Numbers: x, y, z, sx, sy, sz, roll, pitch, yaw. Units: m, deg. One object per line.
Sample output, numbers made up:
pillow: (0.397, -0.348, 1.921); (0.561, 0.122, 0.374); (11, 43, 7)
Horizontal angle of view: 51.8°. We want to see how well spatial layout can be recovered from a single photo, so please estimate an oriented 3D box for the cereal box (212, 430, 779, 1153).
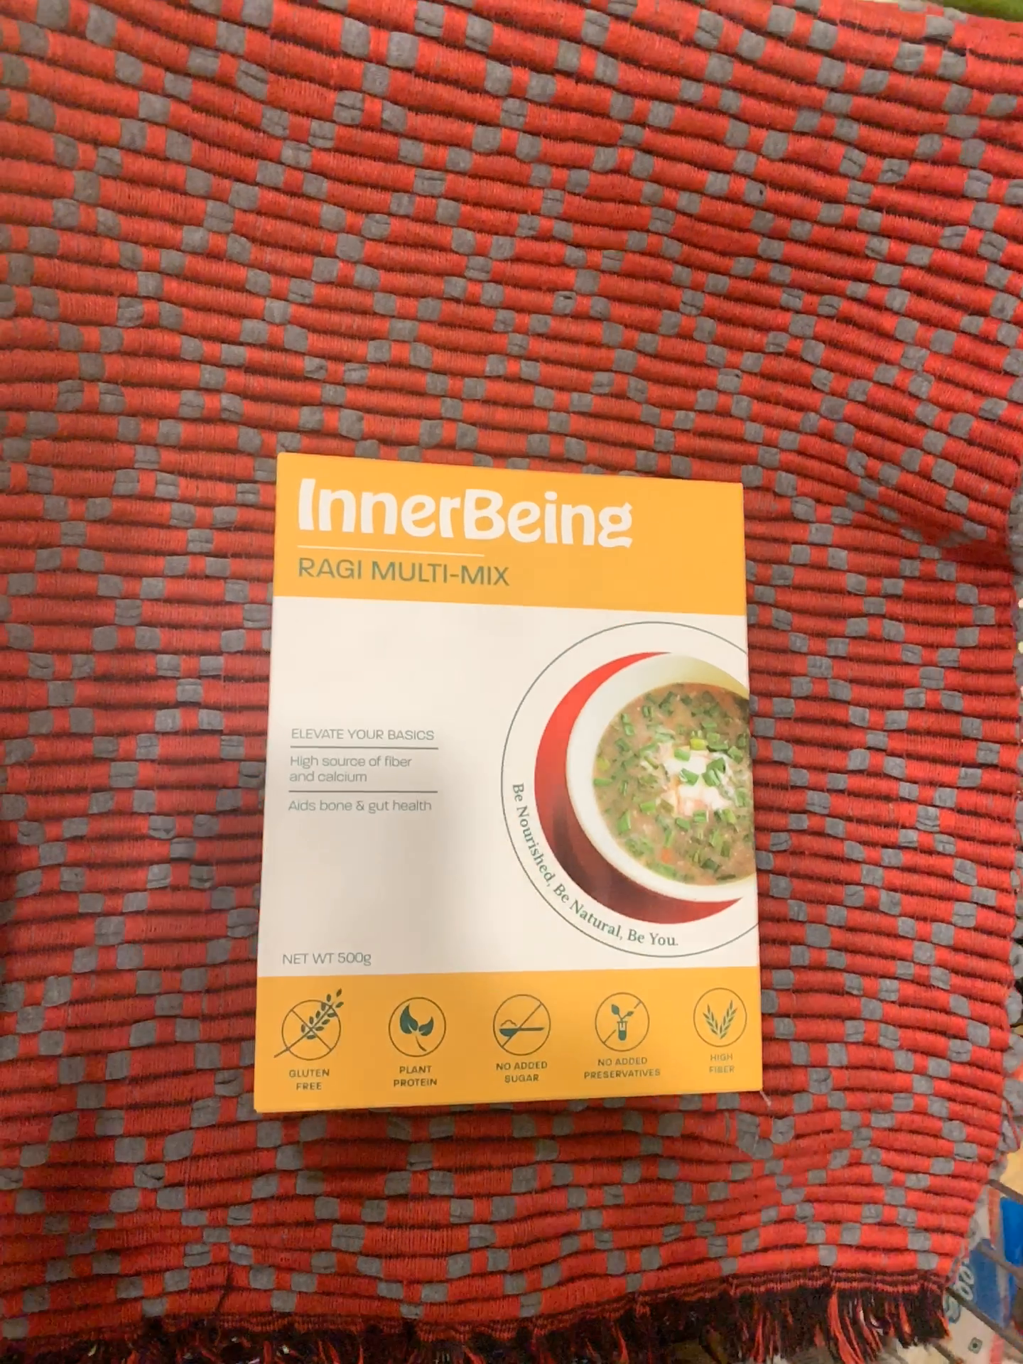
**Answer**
cereal box: (-0.007, 0.031, 0.325); (0.150, 0.070, 0.190); (2, 80, -10)
